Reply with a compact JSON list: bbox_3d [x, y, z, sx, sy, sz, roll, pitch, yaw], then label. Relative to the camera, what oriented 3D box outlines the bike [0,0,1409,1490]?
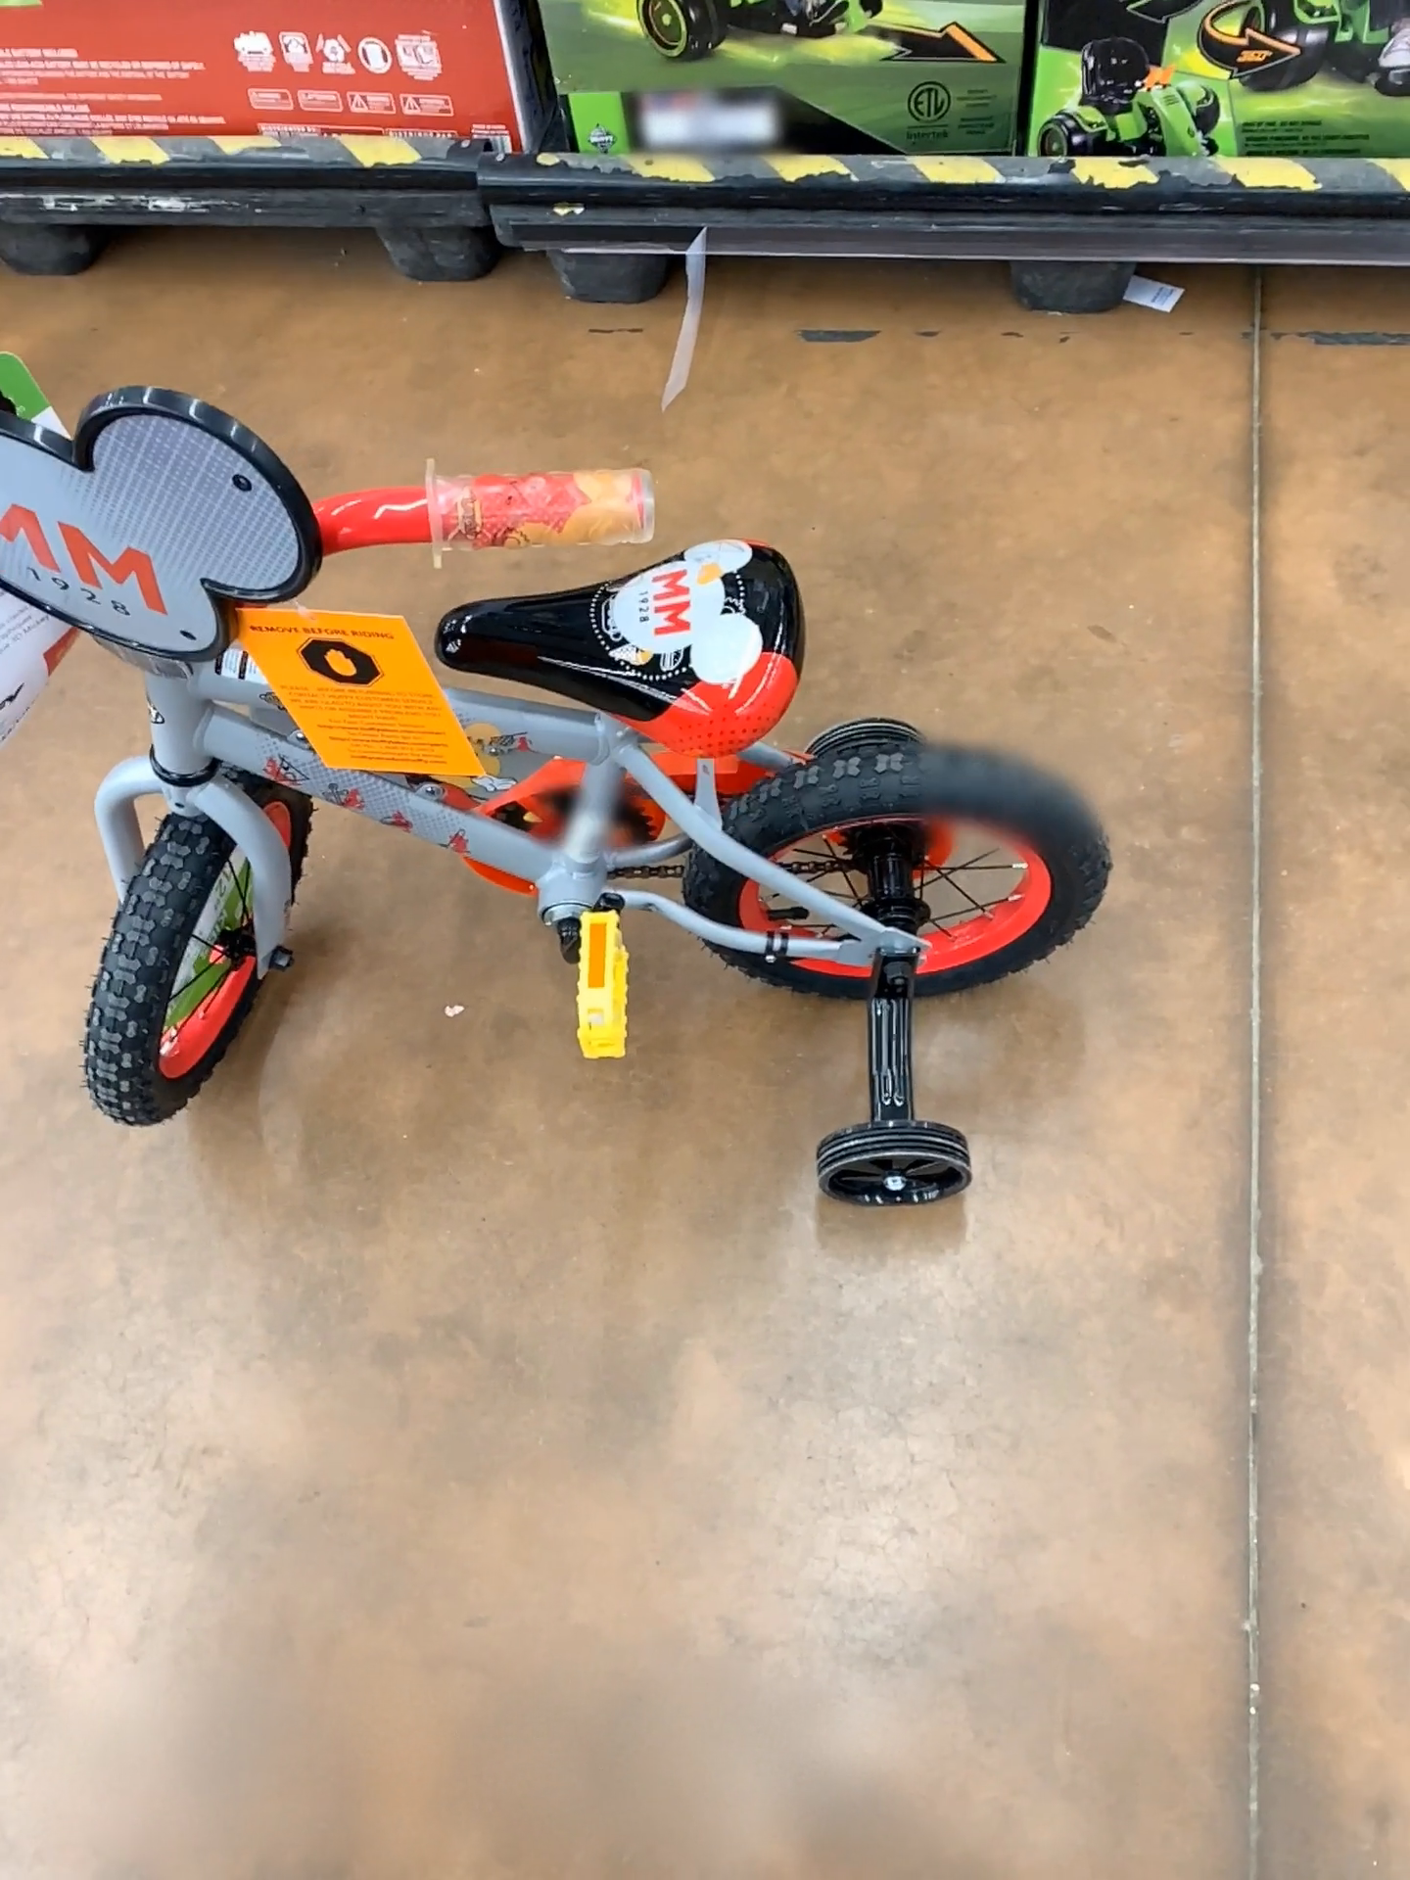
[{"bbox_3d":[-0.102,-0.065,0.826,0.678,0.742,0.450,-13,58,1],"label":"bike"}]
